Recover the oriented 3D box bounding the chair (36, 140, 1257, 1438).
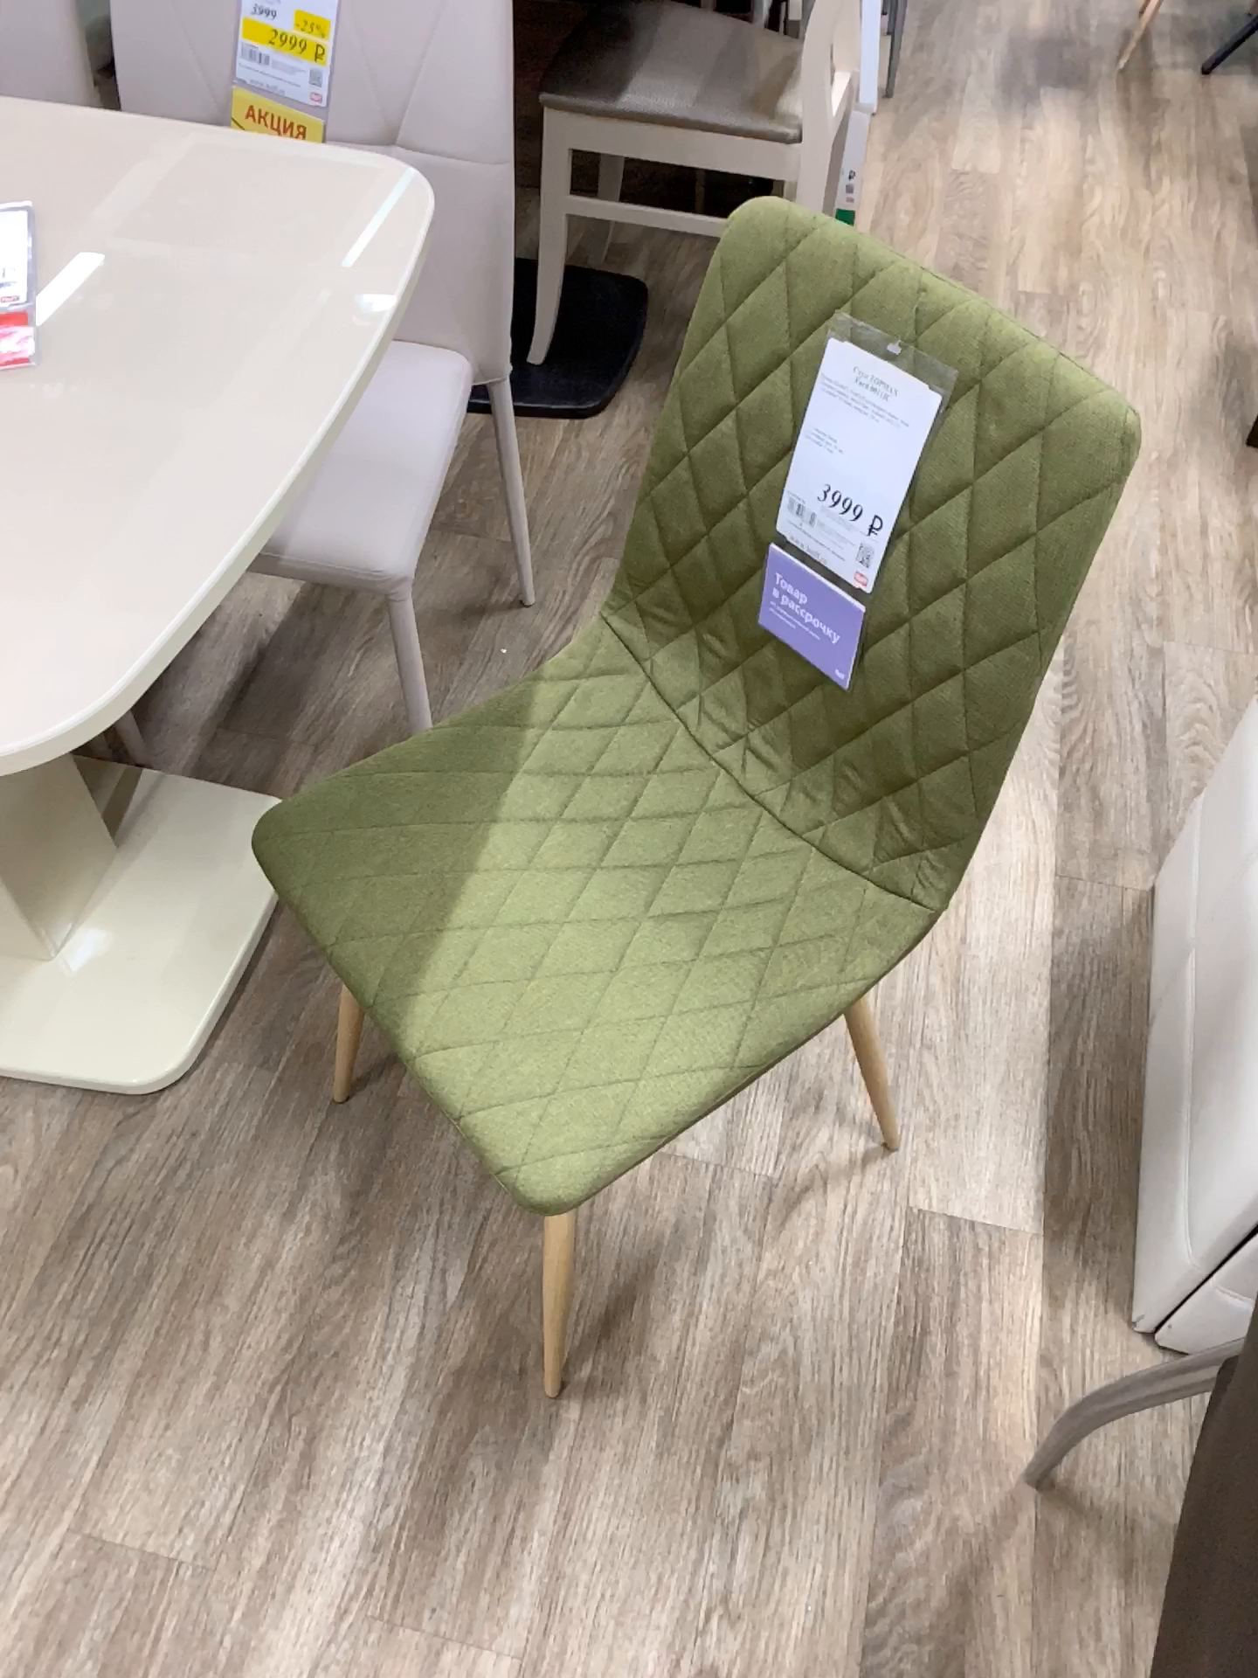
[{"bbox_3d":[0.012,0.005,1.098,0.561,0.837,0.501,-32,58,-23],"label":"chair"}]
